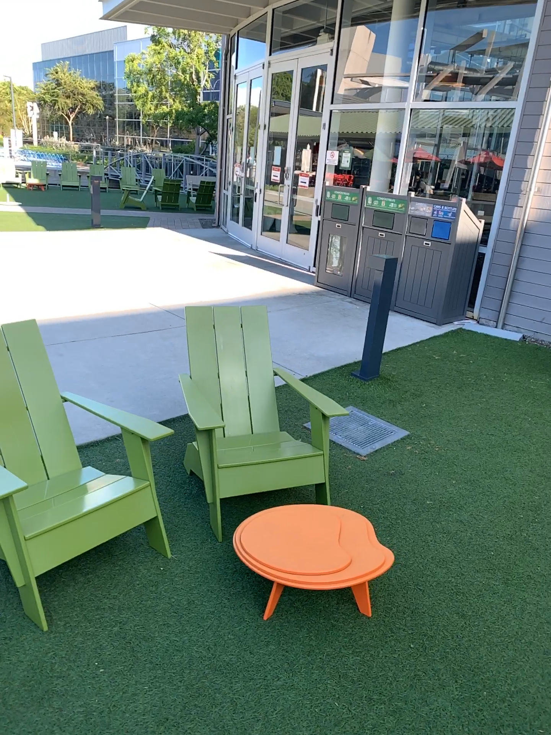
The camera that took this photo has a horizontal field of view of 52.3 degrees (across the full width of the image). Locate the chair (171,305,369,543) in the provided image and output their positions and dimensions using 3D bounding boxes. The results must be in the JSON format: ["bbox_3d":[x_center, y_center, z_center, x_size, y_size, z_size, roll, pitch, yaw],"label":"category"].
[{"bbox_3d":[-0.100,0.213,2.840,0.710,0.856,0.854,-2,21,-19],"label":"chair"}]
